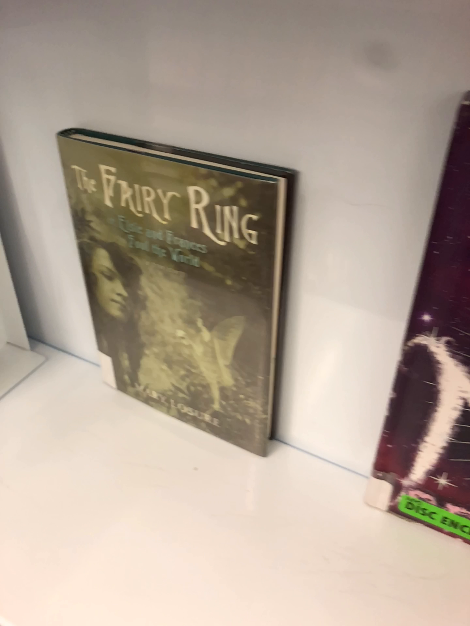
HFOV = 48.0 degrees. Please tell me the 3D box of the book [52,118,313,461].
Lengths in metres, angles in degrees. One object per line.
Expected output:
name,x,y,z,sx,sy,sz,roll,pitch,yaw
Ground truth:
book,-0.036,-0.012,0.334,0.150,0.190,0.028,18,36,24
